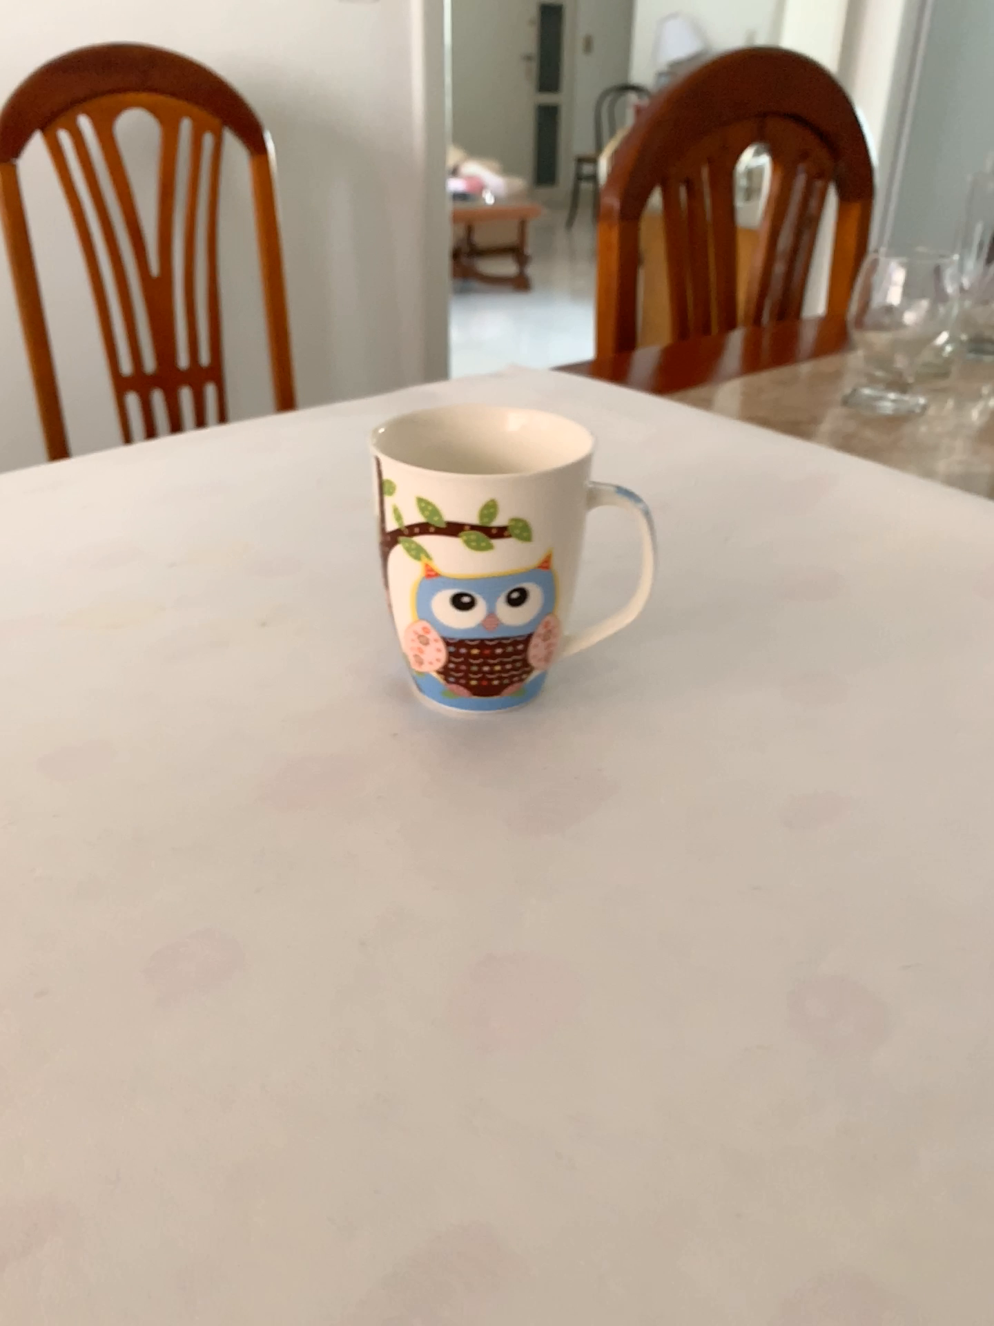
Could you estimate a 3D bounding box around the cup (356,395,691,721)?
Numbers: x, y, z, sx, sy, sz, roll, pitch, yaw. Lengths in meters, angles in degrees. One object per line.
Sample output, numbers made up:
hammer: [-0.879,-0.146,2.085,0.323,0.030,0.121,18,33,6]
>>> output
cup: [0.008,-0.042,0.399,0.110,0.099,0.080,1,30,-1]
